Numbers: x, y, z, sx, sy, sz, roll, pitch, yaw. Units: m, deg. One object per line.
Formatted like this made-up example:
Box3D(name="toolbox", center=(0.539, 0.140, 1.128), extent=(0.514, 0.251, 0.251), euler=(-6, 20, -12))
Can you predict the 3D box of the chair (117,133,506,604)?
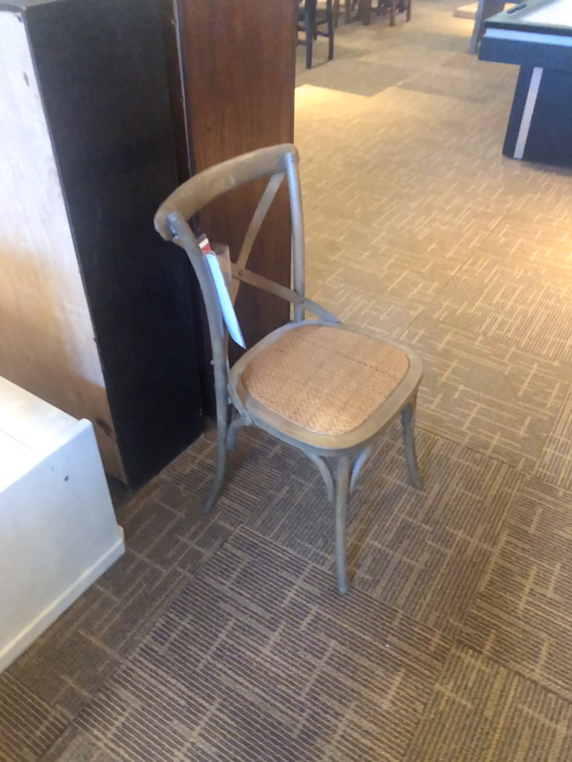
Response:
Box3D(name="chair", center=(0.055, -0.043, 1.475), extent=(0.566, 0.813, 0.517), euler=(25, 45, 26))
